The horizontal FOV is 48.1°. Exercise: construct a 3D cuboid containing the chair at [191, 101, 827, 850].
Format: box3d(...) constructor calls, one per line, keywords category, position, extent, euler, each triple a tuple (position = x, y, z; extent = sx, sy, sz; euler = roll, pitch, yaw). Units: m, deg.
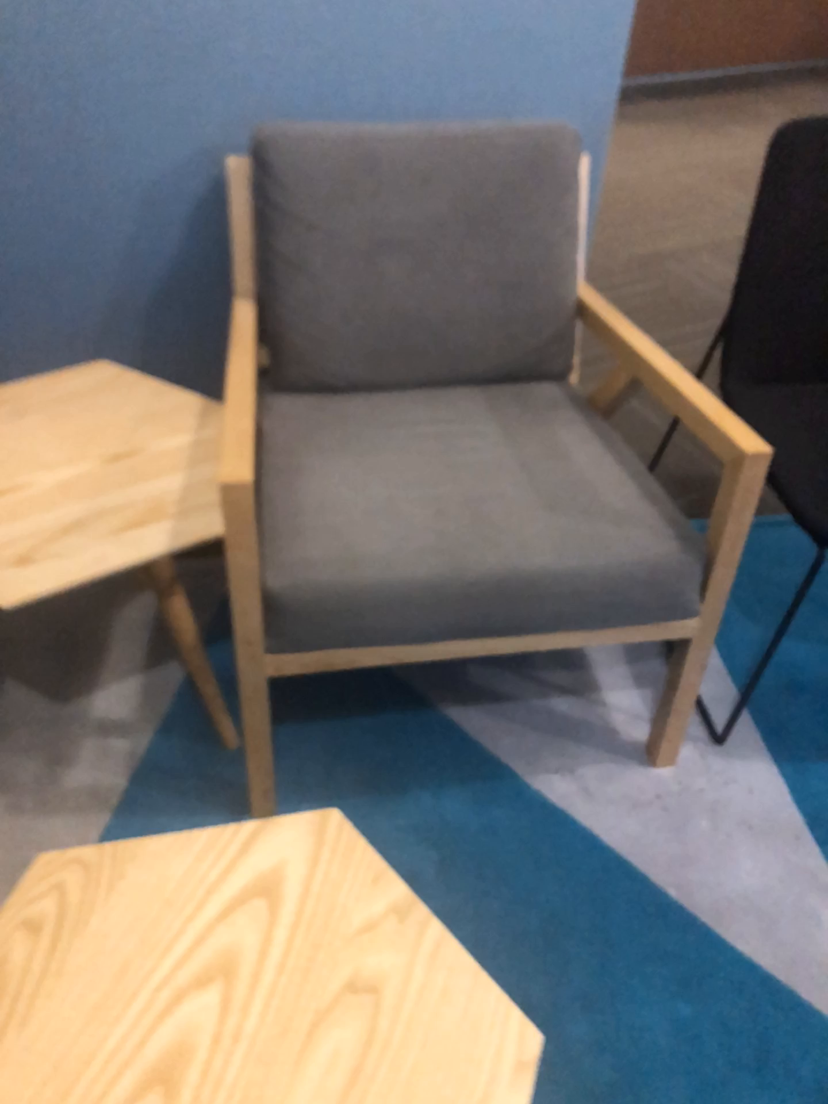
box3d(category="chair", position=(0.062, -0.166, 1.429), extent=(0.711, 0.743, 0.846), euler=(-5, 42, -9))
